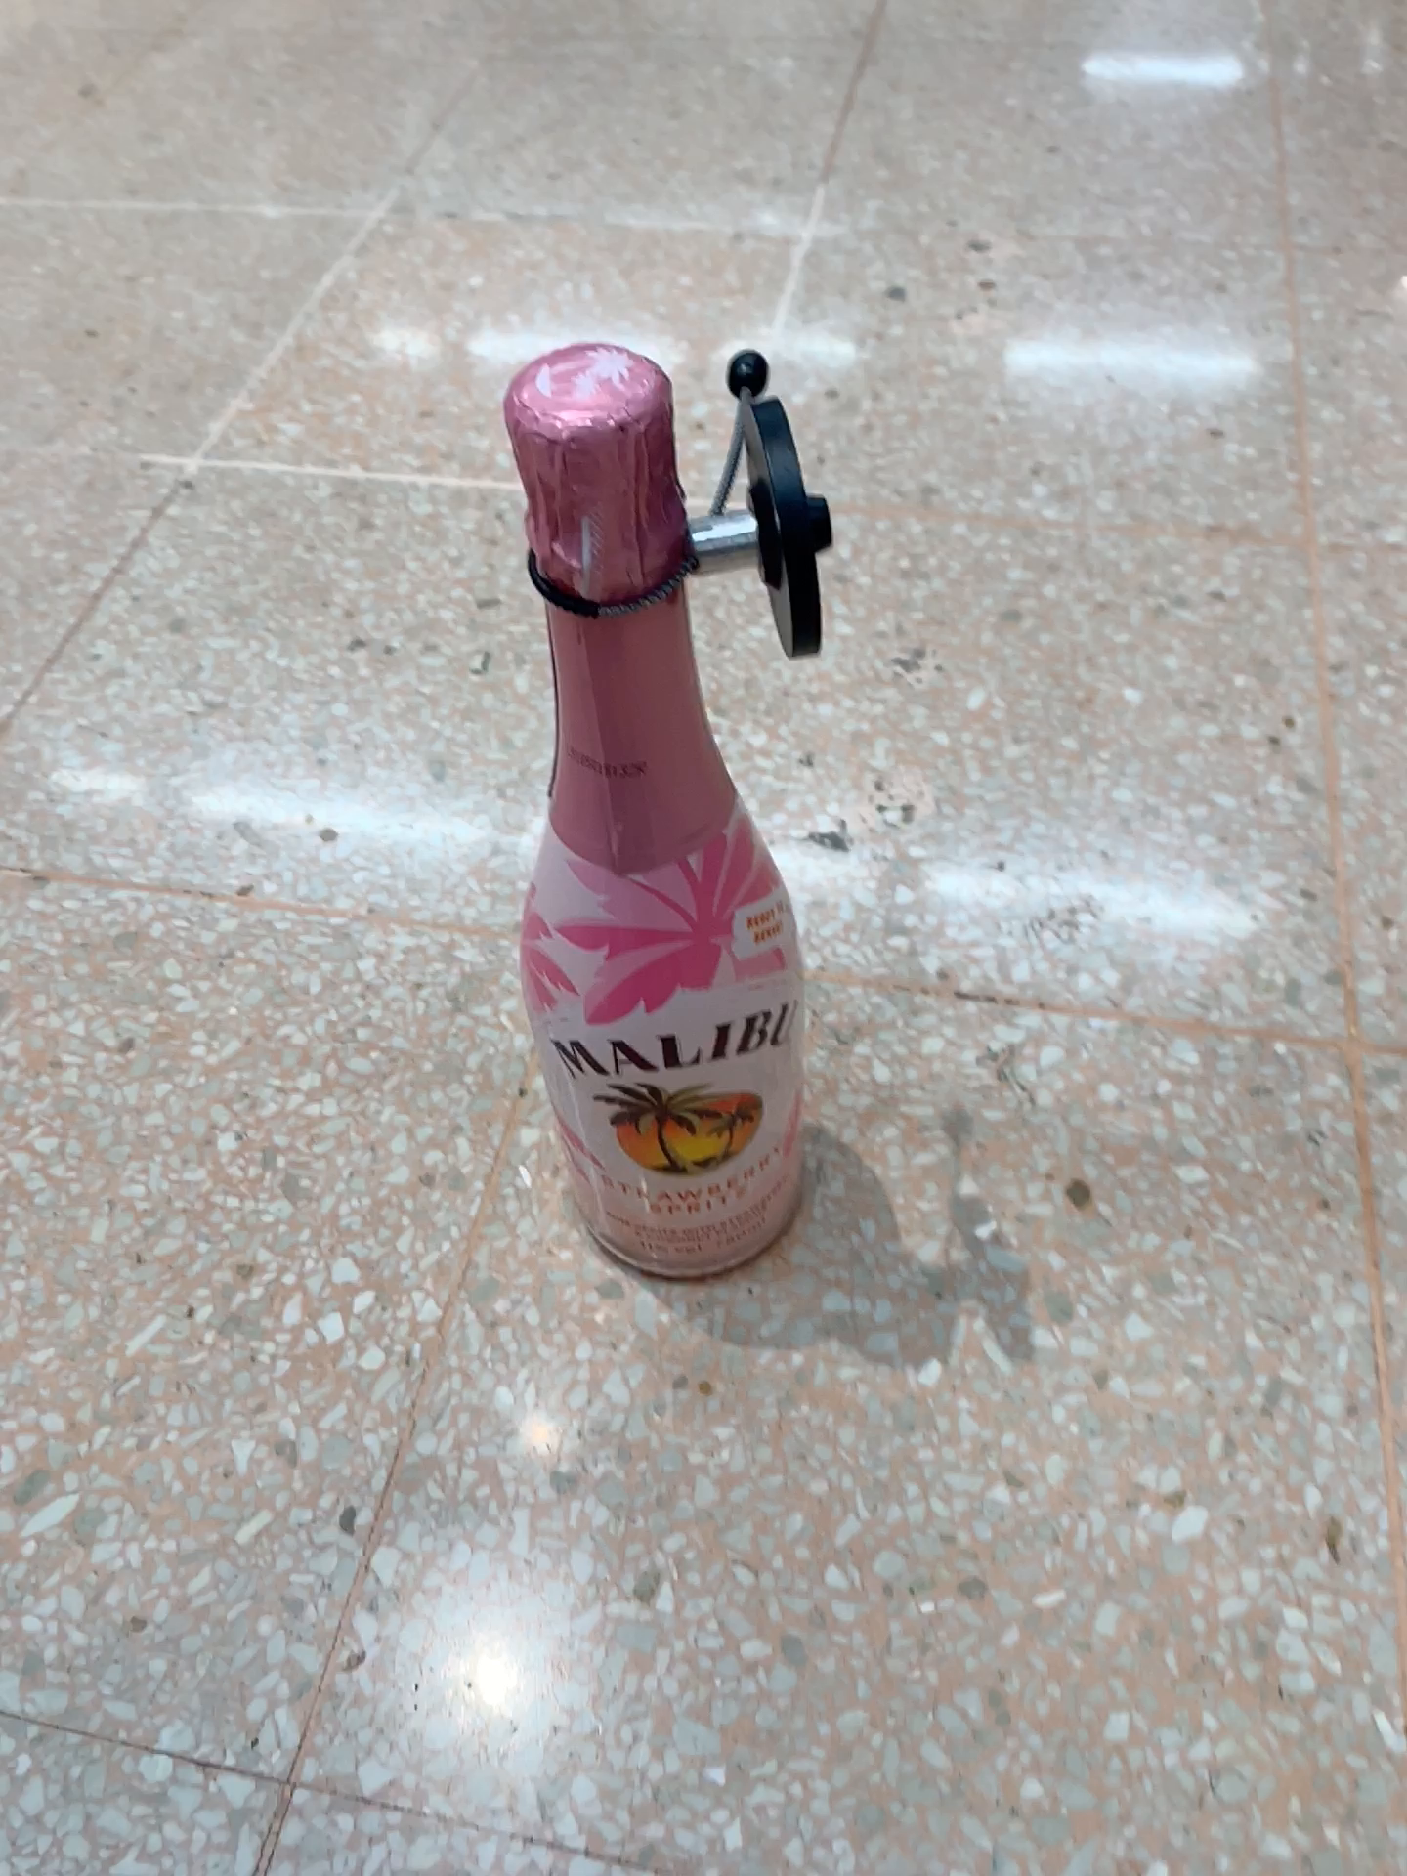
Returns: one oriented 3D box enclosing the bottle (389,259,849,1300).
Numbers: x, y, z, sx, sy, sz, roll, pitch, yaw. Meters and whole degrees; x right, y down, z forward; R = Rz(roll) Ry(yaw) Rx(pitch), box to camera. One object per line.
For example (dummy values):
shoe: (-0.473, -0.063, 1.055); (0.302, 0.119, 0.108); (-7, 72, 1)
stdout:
bottle: (-0.009, -0.010, 0.396); (0.080, 0.307, 0.081); (-2, 51, 3)
